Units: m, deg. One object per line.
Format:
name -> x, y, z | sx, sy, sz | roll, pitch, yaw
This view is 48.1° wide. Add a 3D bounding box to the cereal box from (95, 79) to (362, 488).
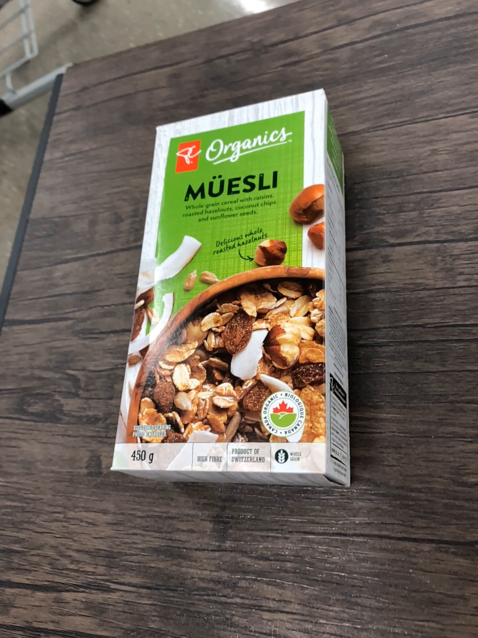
cereal box -> 0.000, -0.018, 0.334 | 0.130, 0.070, 0.230 | -6, 68, 21
